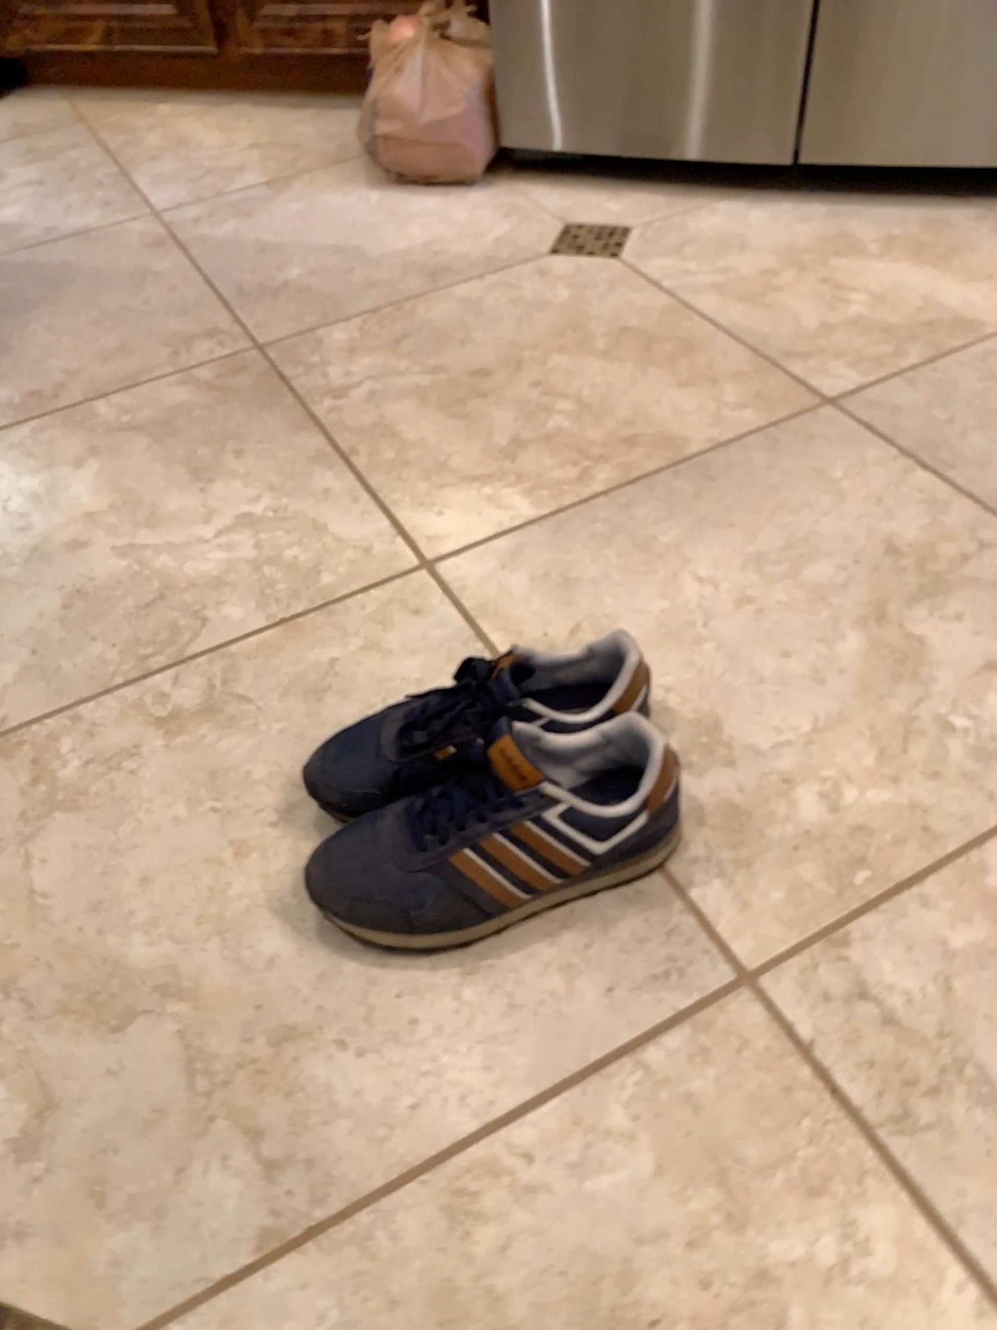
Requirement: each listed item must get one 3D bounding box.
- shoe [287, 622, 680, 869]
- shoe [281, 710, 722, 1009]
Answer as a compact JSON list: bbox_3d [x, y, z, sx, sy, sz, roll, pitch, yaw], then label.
[{"bbox_3d":[-0.013,0.062,0.806,0.282,0.102,0.107,-9,46,-3],"label":"shoe"},{"bbox_3d":[0.001,0.136,0.736,0.282,0.102,0.112,-12,46,-6],"label":"shoe"}]
